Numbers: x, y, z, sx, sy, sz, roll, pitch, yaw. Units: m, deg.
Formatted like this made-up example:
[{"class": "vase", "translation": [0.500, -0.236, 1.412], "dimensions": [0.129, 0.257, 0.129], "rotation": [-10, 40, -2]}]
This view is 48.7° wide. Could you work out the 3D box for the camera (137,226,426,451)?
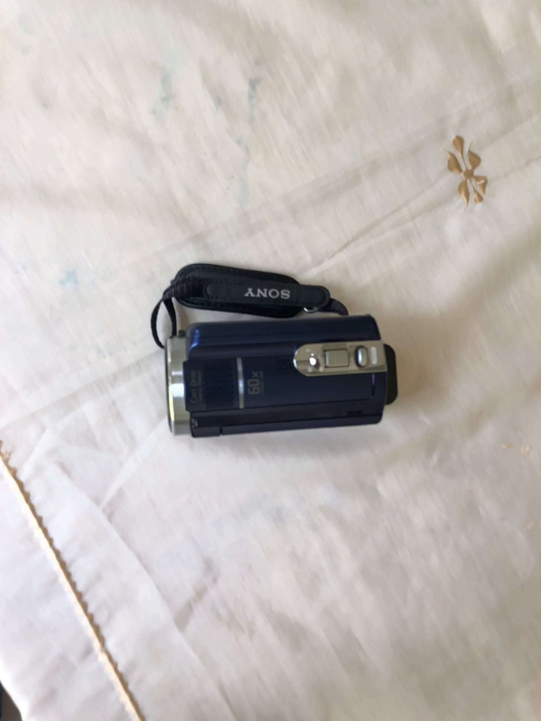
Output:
[{"class": "camera", "translation": [0.001, -0.010, 0.287], "dimensions": [0.119, 0.070, 0.090], "rotation": [-3, 90, -9]}]
